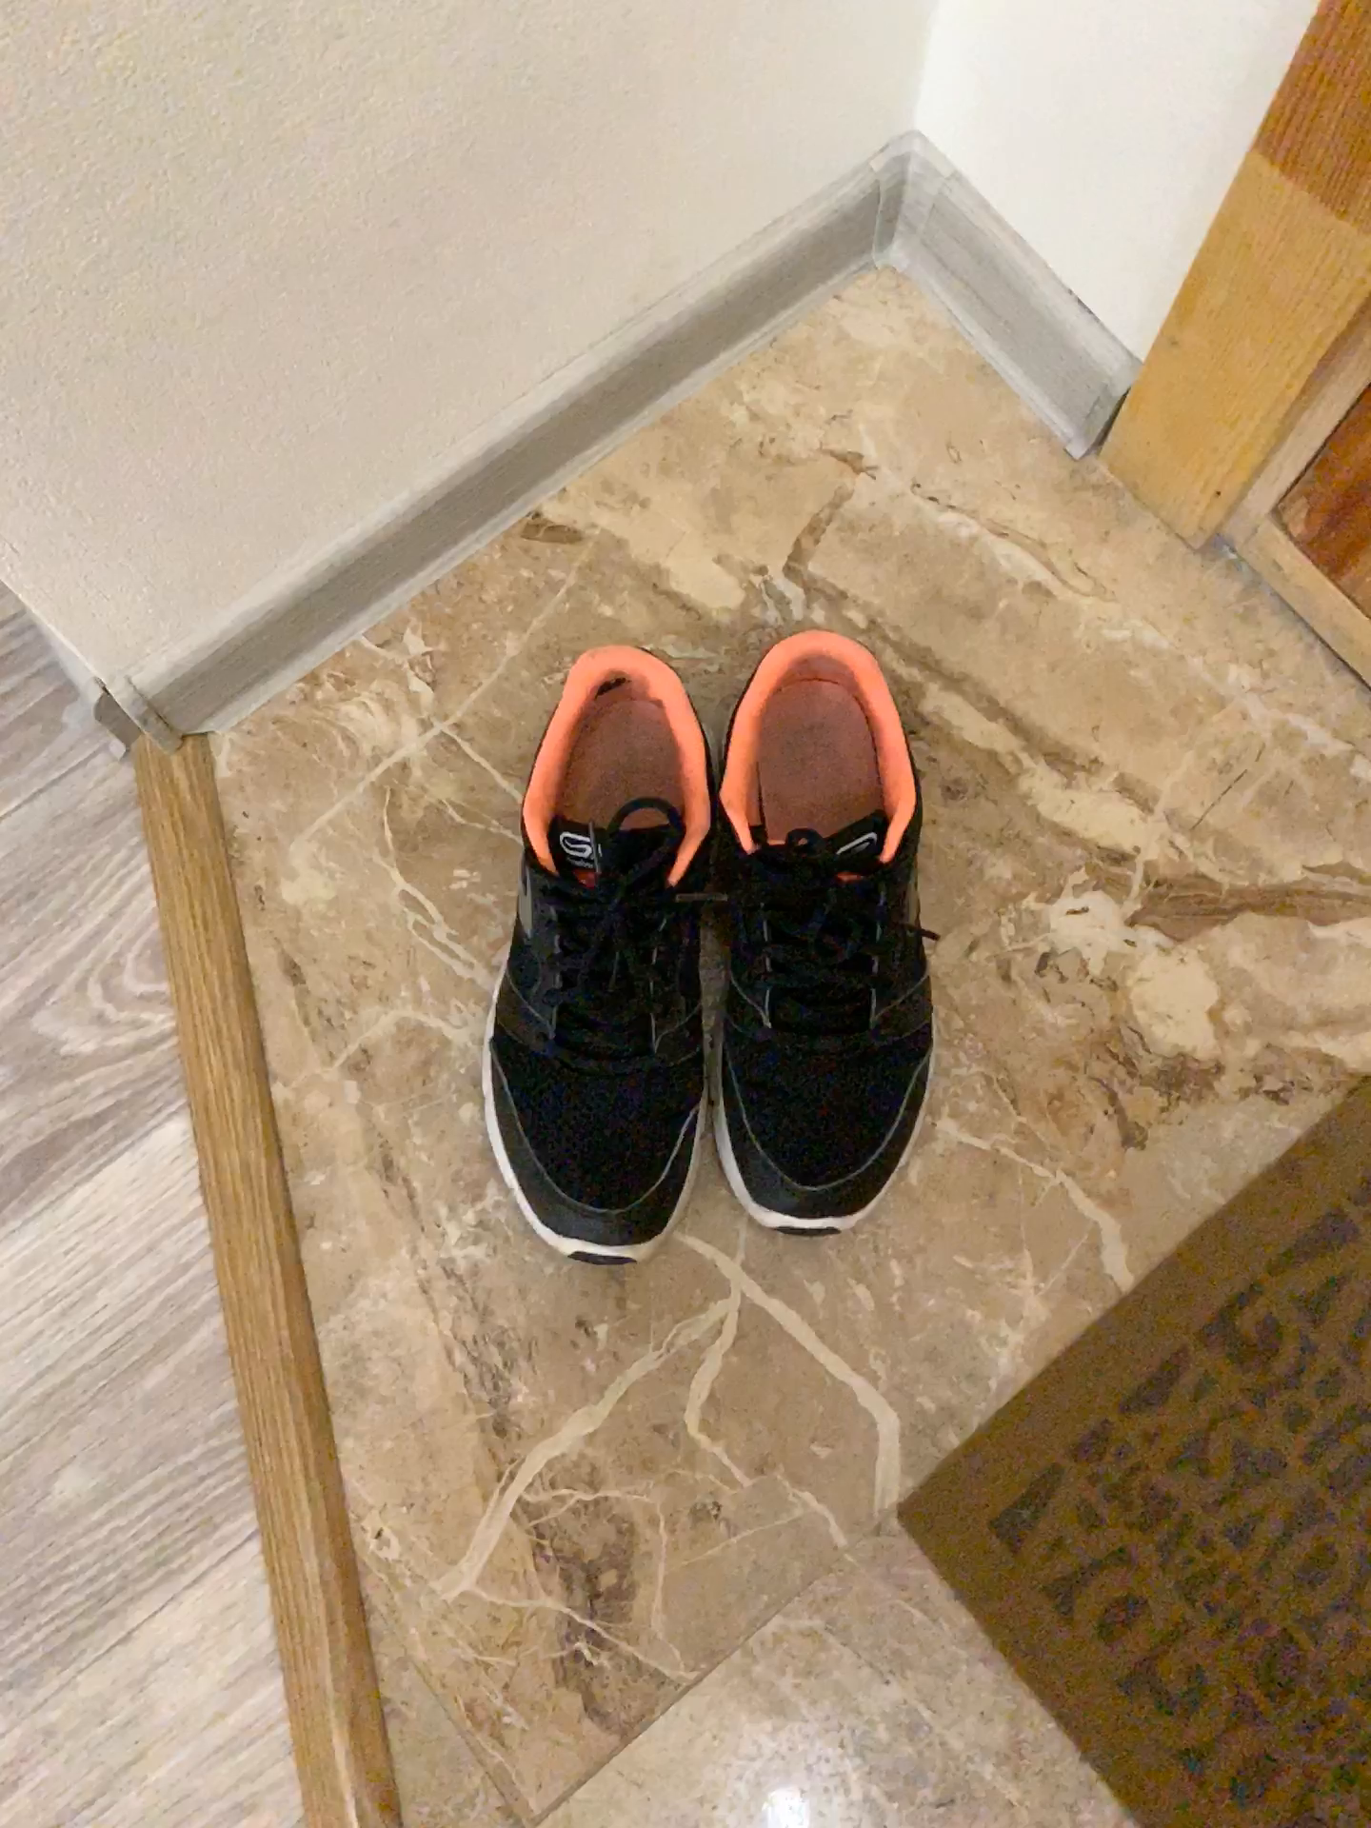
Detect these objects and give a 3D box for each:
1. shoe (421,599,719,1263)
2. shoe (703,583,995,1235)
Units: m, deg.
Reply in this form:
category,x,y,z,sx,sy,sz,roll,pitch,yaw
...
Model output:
category,x,y,z,sx,sy,sz,roll,pitch,yaw
shoe,-0.039,0.011,0.569,0.100,0.100,0.250,1,75,0
shoe,0.060,0.002,0.568,0.100,0.100,0.244,1,75,0
